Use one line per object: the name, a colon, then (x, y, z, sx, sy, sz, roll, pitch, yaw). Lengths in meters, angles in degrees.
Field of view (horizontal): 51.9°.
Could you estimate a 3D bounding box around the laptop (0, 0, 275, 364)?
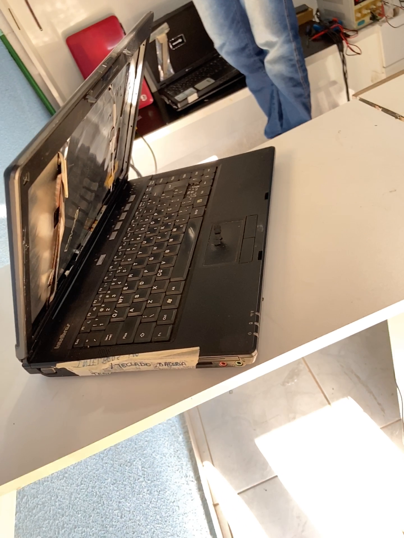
laptop: (-0.072, -0.100, 0.423, 0.231, 0.191, 0.324, -9, 41, 22)
